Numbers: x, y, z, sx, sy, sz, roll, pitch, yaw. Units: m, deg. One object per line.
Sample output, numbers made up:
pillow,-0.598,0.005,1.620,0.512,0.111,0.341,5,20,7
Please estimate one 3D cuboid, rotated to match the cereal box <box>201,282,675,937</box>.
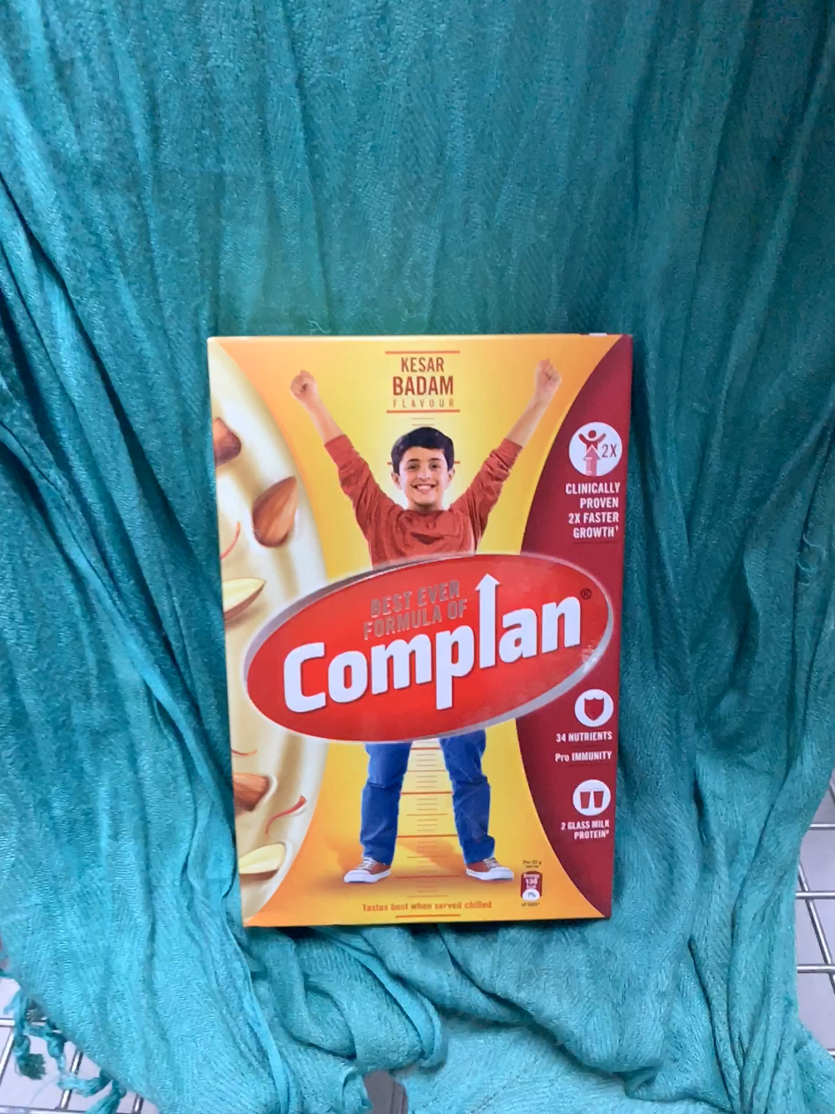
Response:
cereal box,0.009,0.017,0.297,0.140,0.200,0.060,-2,5,1
